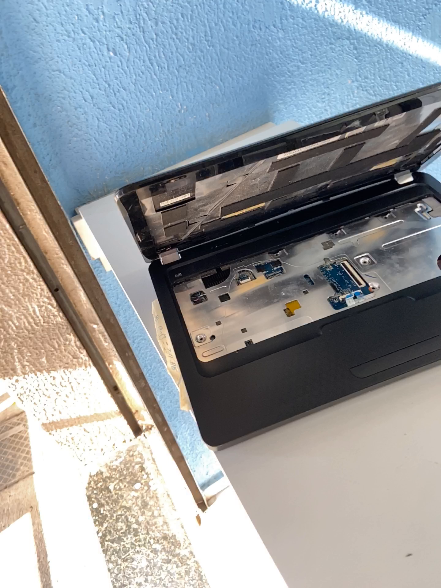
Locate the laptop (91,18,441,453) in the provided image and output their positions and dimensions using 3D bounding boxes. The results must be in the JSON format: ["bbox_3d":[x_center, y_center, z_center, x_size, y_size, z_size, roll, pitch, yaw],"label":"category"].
[{"bbox_3d":[0.094,-0.069,0.365,0.327,0.153,0.223,-20,45,-7],"label":"laptop"}]
